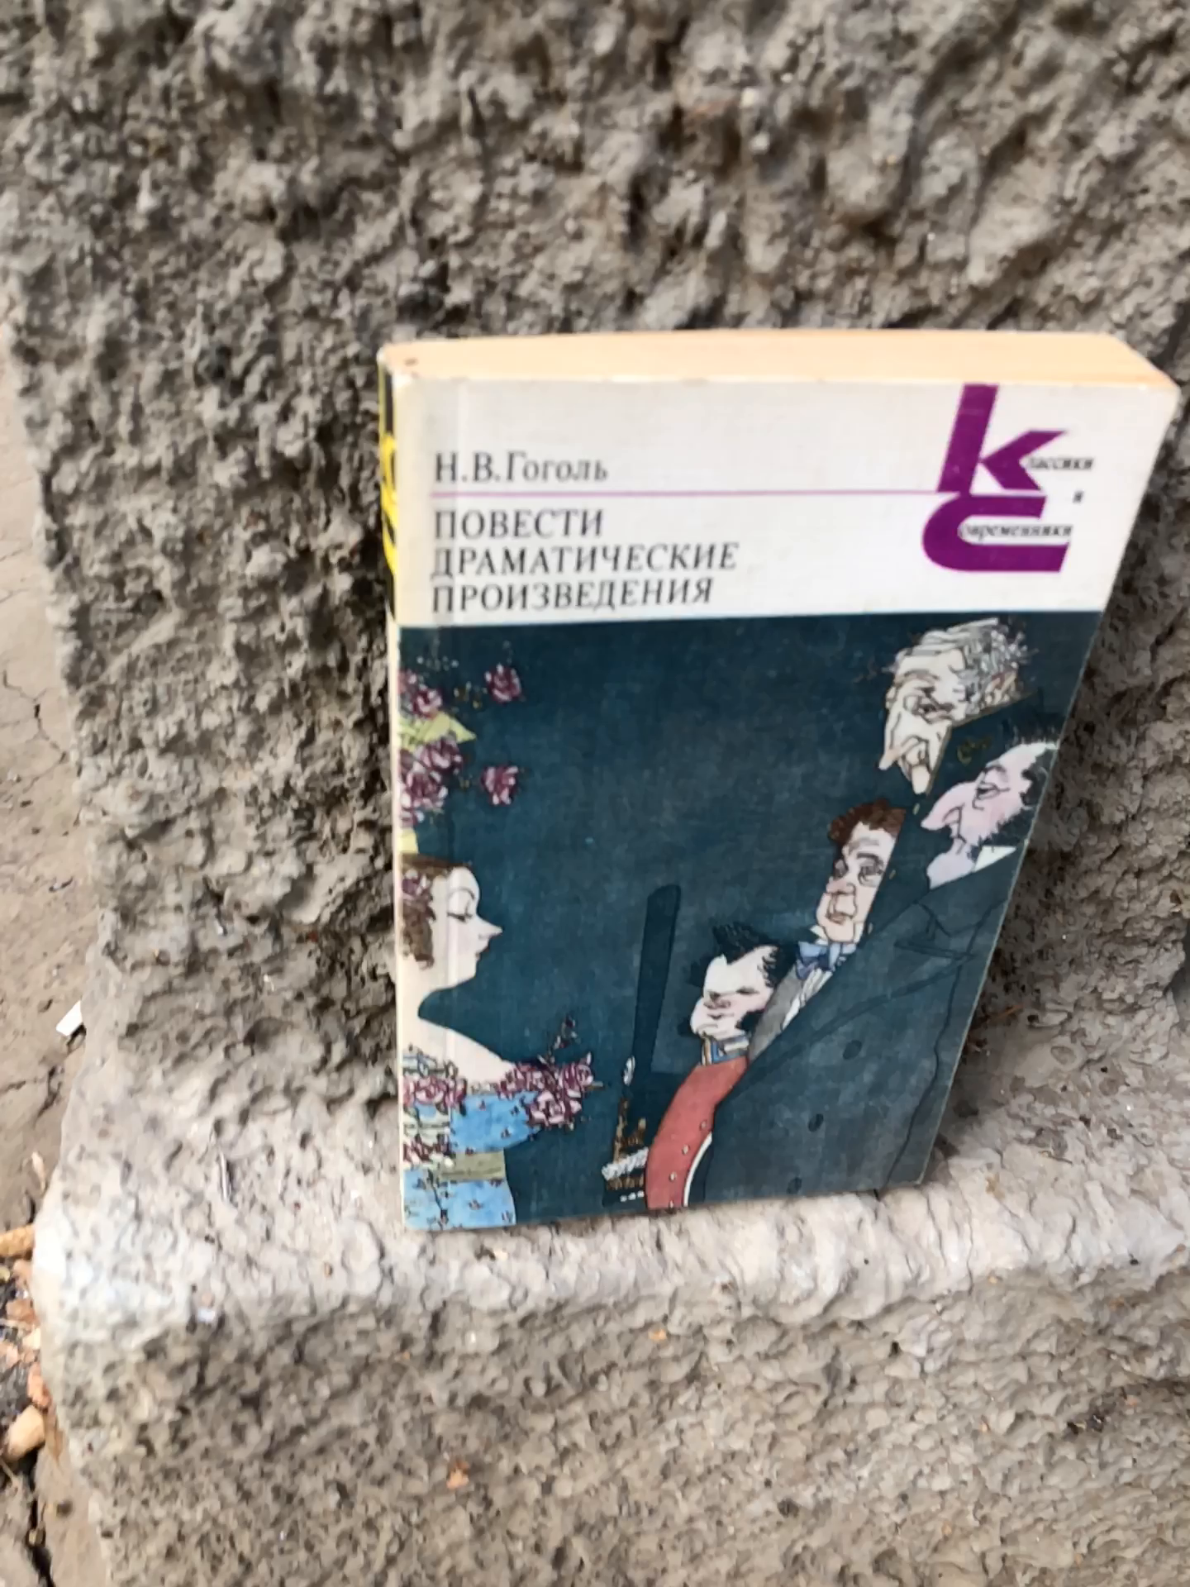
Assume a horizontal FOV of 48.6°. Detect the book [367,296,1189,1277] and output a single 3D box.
[{"bbox_3d":[0.028,0.009,0.253,0.137,0.190,0.030,-4,34,-14],"label":"book"}]
